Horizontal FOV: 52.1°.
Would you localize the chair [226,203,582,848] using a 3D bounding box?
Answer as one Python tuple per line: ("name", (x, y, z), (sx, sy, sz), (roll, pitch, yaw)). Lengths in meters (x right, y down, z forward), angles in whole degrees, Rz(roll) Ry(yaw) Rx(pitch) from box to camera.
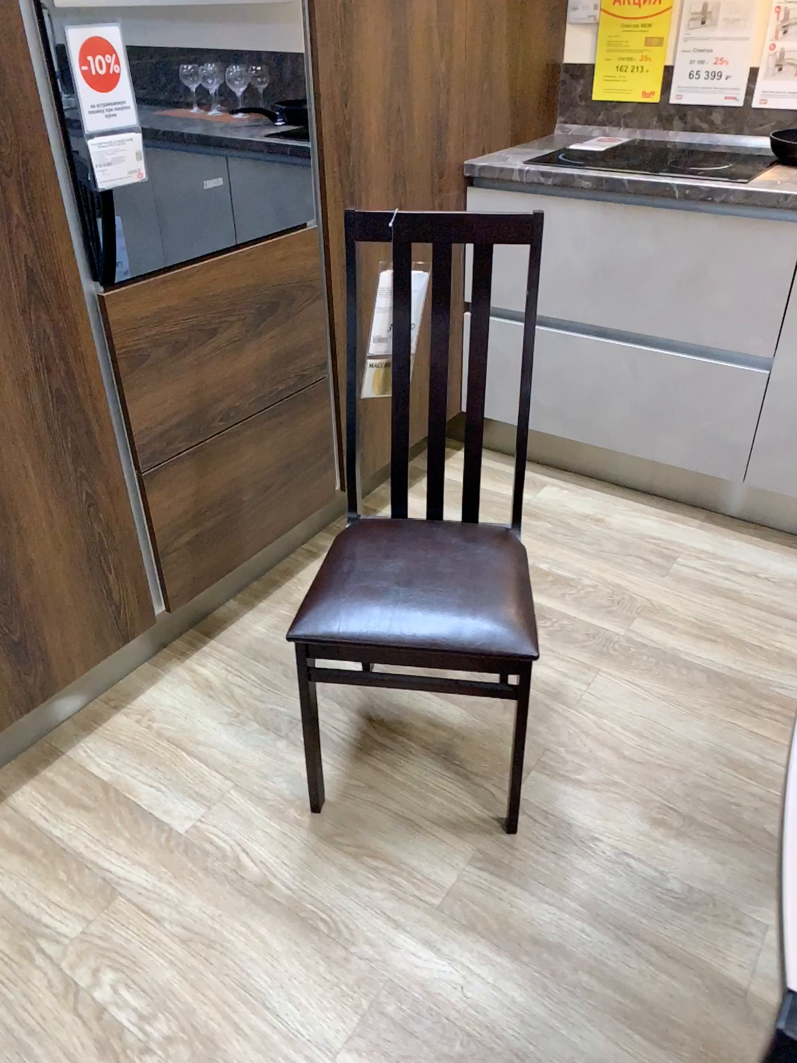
("chair", (0.046, 0.004, 1.470), (0.430, 1.014, 0.523), (4, 34, 7))
